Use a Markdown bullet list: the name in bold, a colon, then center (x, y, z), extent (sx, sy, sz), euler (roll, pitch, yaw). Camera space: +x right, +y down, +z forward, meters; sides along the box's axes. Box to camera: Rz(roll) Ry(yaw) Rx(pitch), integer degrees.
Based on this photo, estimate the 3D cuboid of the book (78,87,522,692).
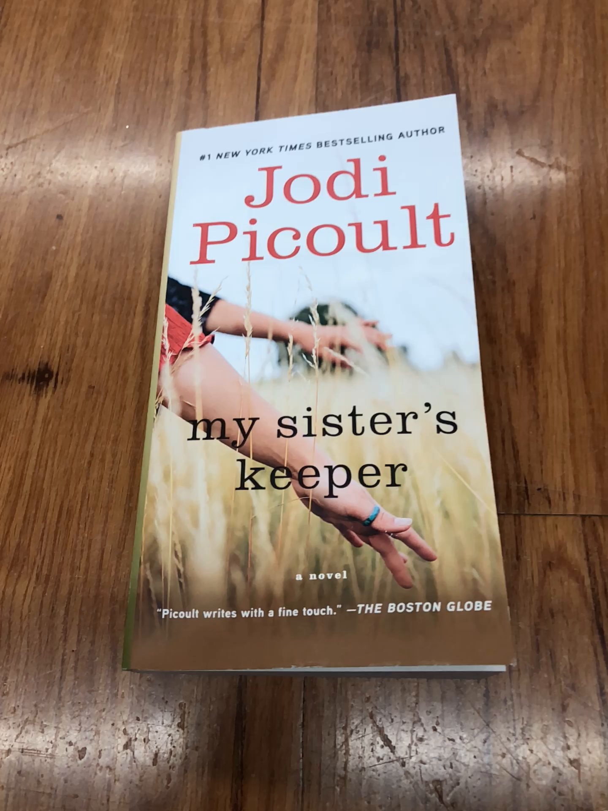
- **book**: center (0.002, -0.012, 0.220), extent (0.110, 0.040, 0.191), euler (-2, 67, 7)
